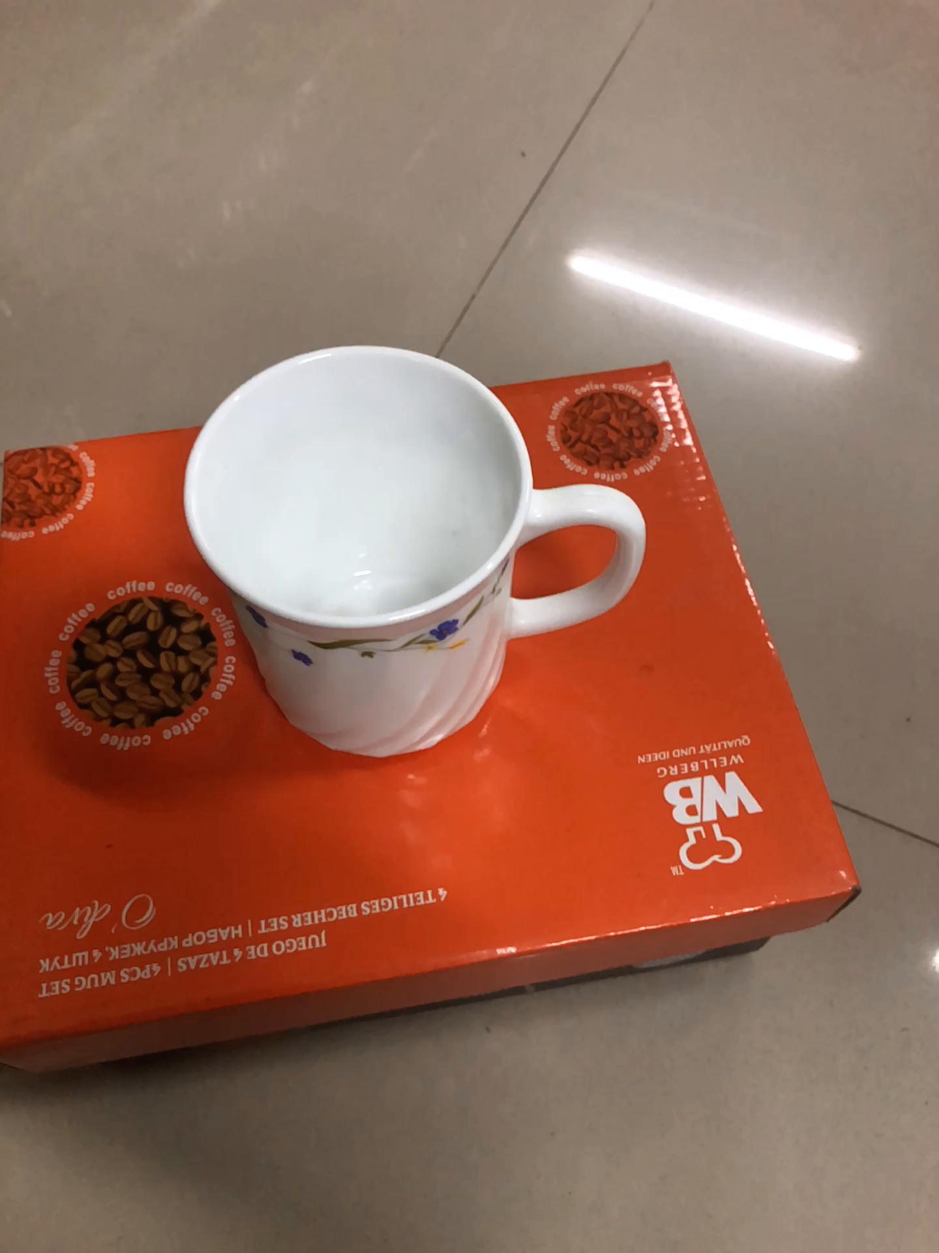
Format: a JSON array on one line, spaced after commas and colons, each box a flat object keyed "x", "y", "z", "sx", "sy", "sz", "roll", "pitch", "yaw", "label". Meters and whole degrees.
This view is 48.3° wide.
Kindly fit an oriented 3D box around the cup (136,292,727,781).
[{"x": -0.009, "y": -0.019, "z": 0.274, "sx": 0.120, "sy": 0.090, "sz": 0.090, "roll": -2, "pitch": 62, "yaw": -1, "label": "cup"}]
